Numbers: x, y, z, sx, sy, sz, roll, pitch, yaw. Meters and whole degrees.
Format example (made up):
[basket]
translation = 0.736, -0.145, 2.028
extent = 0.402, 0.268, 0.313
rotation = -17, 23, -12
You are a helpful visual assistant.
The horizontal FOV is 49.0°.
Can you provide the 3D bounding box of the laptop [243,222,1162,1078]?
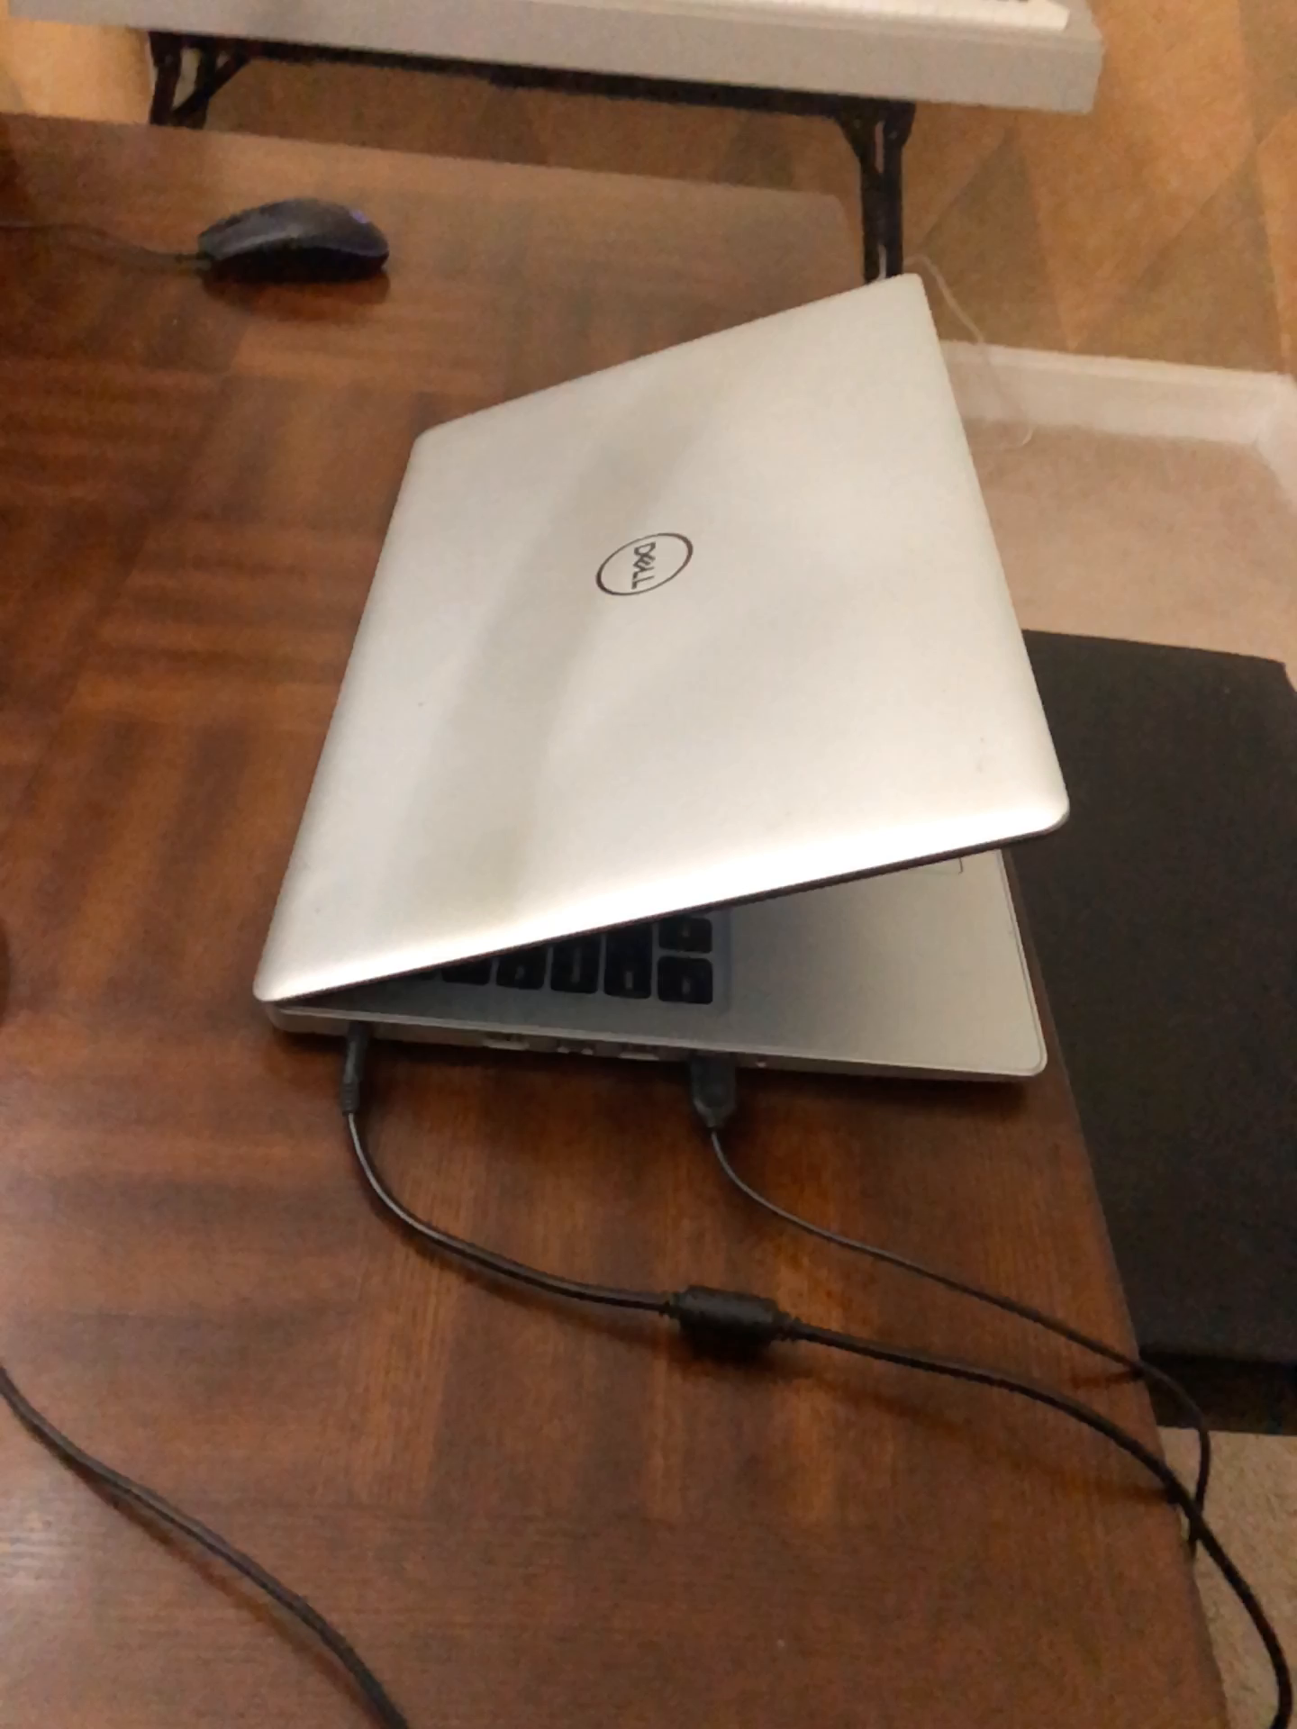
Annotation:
[laptop]
translation = 0.018, -0.108, 0.548
extent = 0.249, 0.103, 0.370
rotation = 6, 44, -5
